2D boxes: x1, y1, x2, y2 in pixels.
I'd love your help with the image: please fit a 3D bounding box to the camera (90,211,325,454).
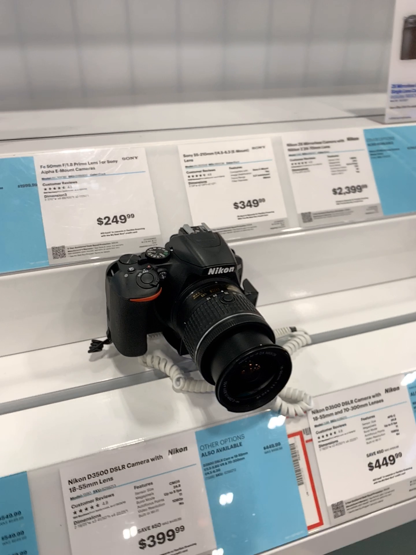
[{"bbox_3d":[-0.011,0.029,0.351,0.130,0.099,0.151,-12,33,-19],"label":"camera"}]
